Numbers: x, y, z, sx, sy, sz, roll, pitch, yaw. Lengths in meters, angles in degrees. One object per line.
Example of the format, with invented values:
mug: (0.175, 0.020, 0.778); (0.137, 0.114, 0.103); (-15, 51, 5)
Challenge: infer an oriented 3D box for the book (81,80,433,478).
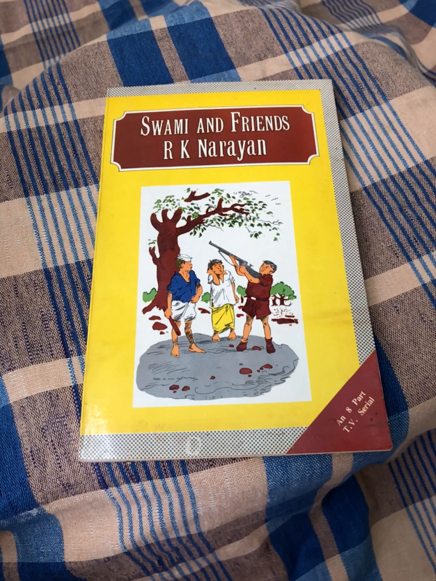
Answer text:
book: (0.012, -0.017, 0.229); (0.130, 0.020, 0.190); (-2, 66, 1)
